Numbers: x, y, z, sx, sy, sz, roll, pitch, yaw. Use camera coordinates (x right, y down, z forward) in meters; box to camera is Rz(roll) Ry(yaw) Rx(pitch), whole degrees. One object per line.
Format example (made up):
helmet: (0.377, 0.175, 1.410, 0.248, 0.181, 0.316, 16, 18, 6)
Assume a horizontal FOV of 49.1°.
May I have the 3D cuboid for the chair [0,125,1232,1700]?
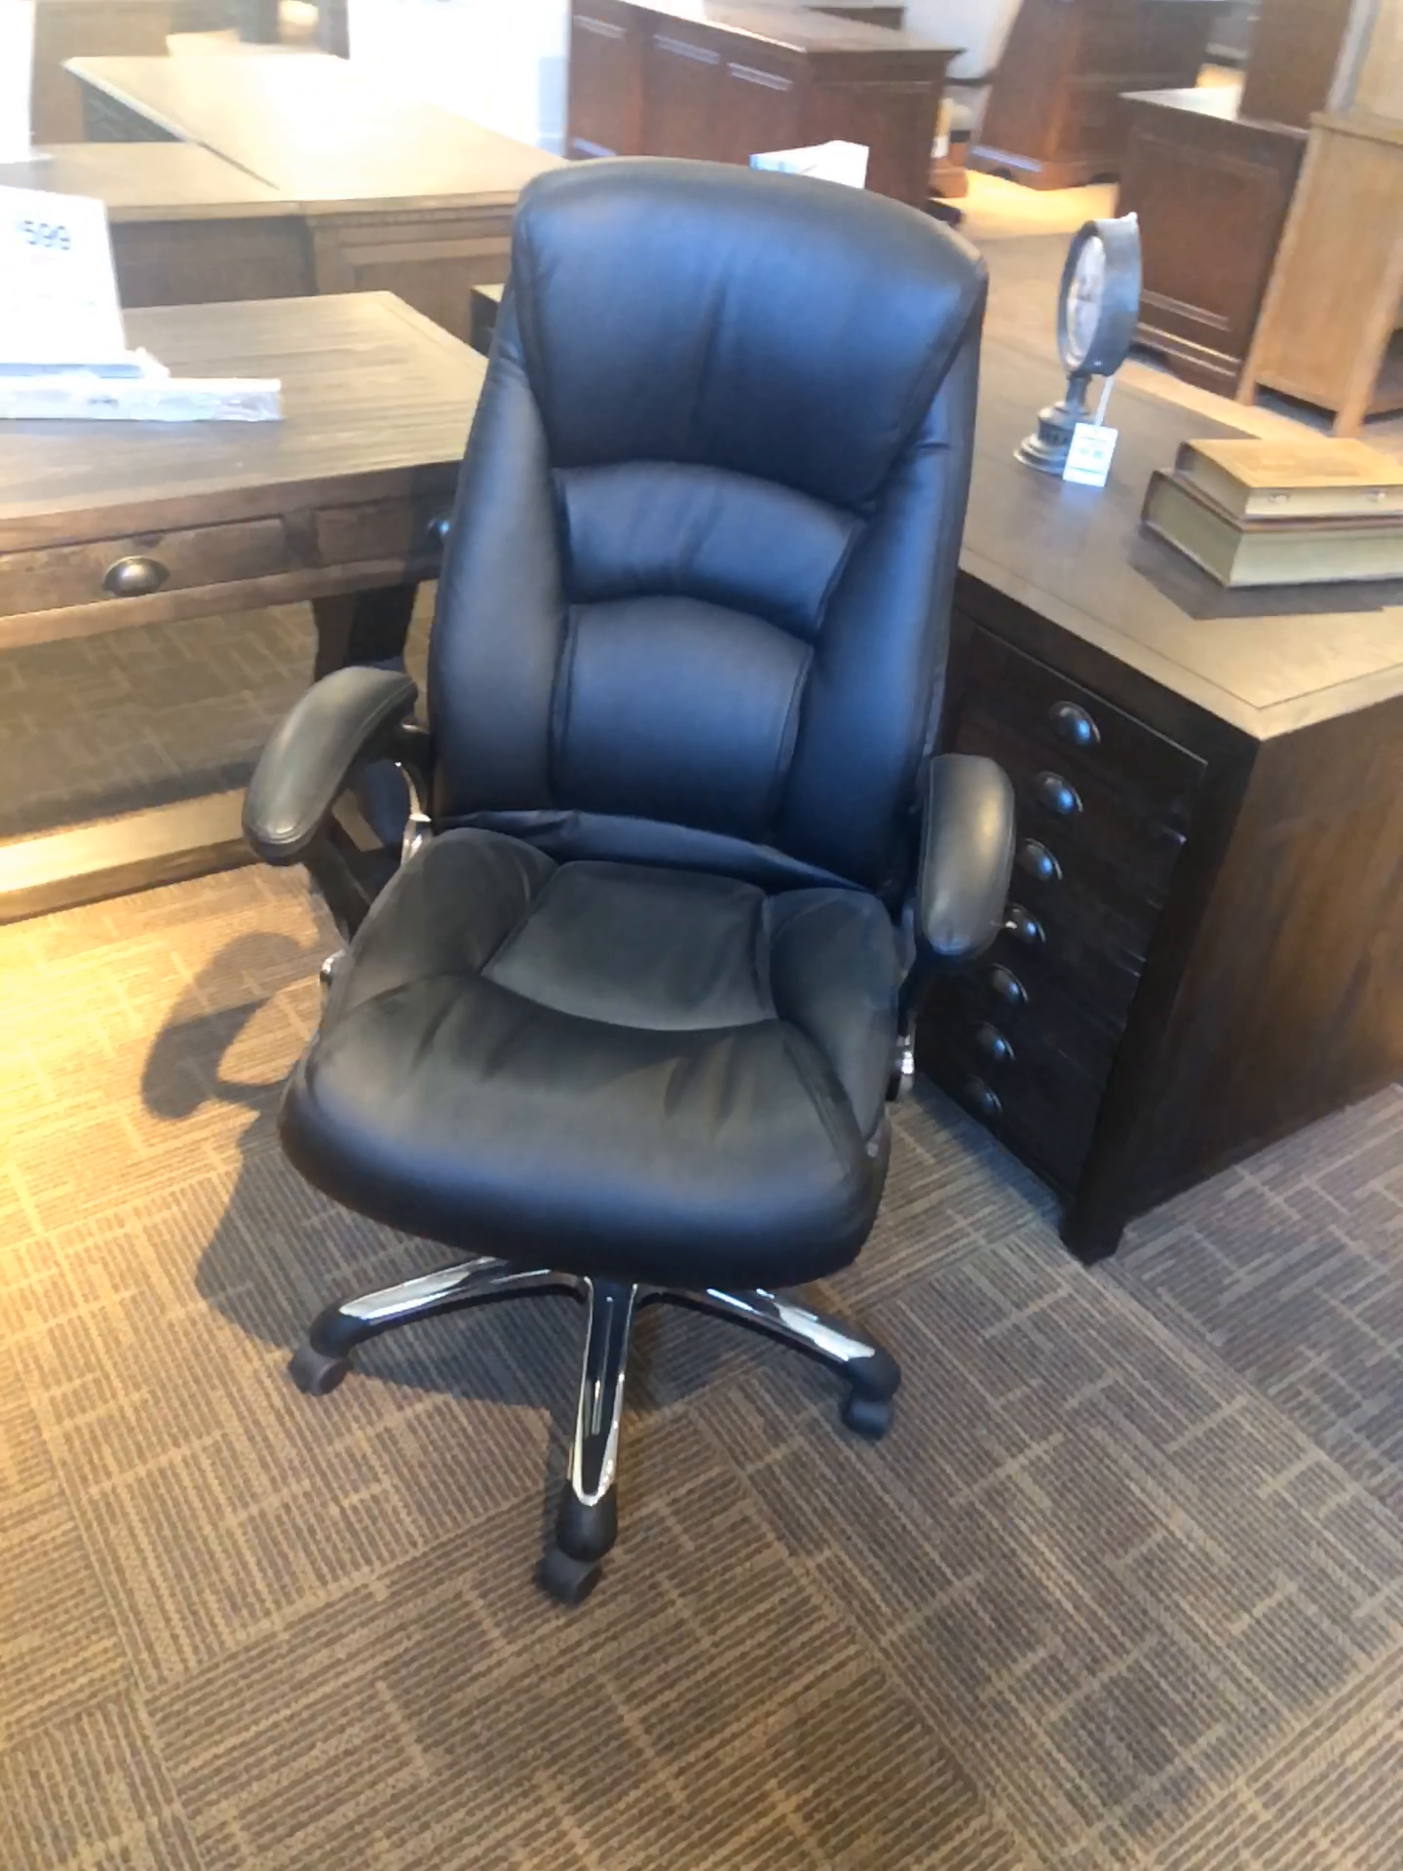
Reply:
chair: (-0.061, -0.031, 1.419, 0.701, 1.118, 0.772, 9, 36, 5)
